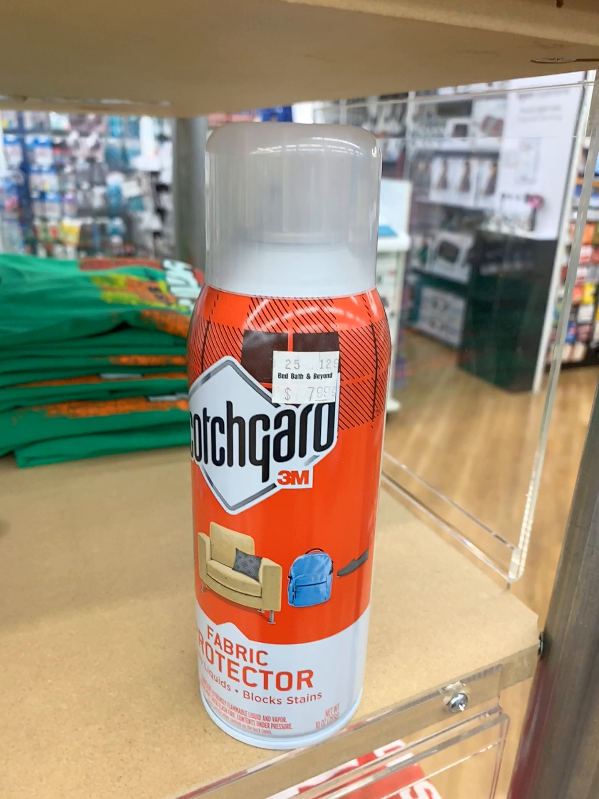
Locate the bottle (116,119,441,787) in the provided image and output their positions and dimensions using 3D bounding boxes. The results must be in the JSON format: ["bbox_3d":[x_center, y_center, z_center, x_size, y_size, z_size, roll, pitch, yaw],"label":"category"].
[{"bbox_3d":[-0.006,0.017,0.217,0.069,0.206,0.067,2,21,-1],"label":"bottle"}]
